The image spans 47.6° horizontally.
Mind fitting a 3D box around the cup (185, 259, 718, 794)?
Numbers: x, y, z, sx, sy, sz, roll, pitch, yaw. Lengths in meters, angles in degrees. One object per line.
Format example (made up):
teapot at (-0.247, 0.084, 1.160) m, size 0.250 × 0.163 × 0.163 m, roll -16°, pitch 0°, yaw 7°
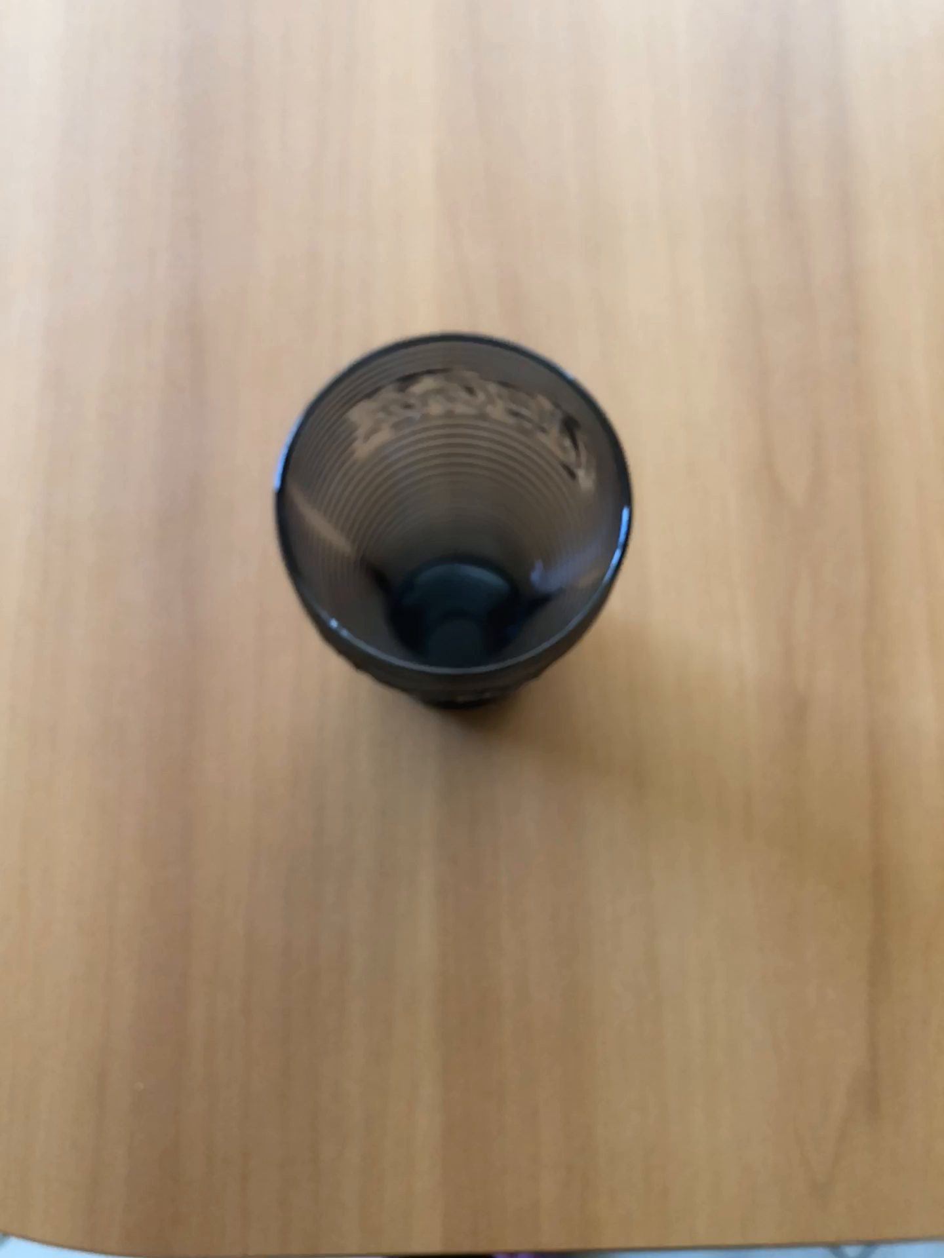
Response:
cup at (-0.004, -0.015, 0.290) m, size 0.080 × 0.130 × 0.080 m, roll 0°, pitch 79°, yaw -1°
